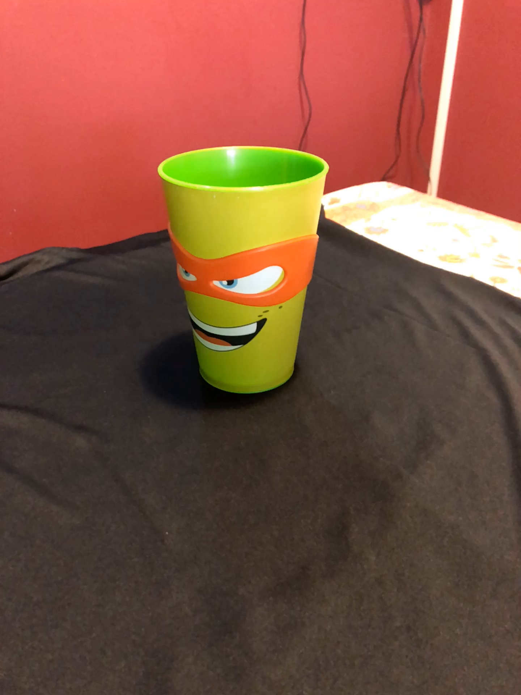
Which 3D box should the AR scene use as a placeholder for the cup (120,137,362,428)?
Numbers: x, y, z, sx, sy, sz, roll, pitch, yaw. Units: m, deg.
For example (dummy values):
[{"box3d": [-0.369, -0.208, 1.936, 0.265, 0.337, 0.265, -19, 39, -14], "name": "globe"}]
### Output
[{"box3d": [-0.007, -0.049, 0.372, 0.100, 0.139, 0.111, 15, 33, 24], "name": "cup"}]
